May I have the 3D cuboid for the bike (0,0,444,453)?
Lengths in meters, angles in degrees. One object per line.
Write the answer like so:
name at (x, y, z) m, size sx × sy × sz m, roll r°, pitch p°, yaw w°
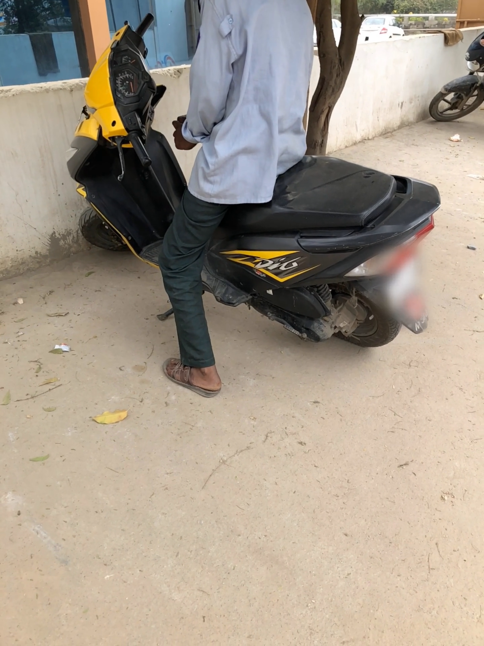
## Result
bike at (-0.254, -0.475, 1.872) m, size 1.569 × 1.145 × 0.638 m, roll 18°, pitch 36°, yaw 24°
